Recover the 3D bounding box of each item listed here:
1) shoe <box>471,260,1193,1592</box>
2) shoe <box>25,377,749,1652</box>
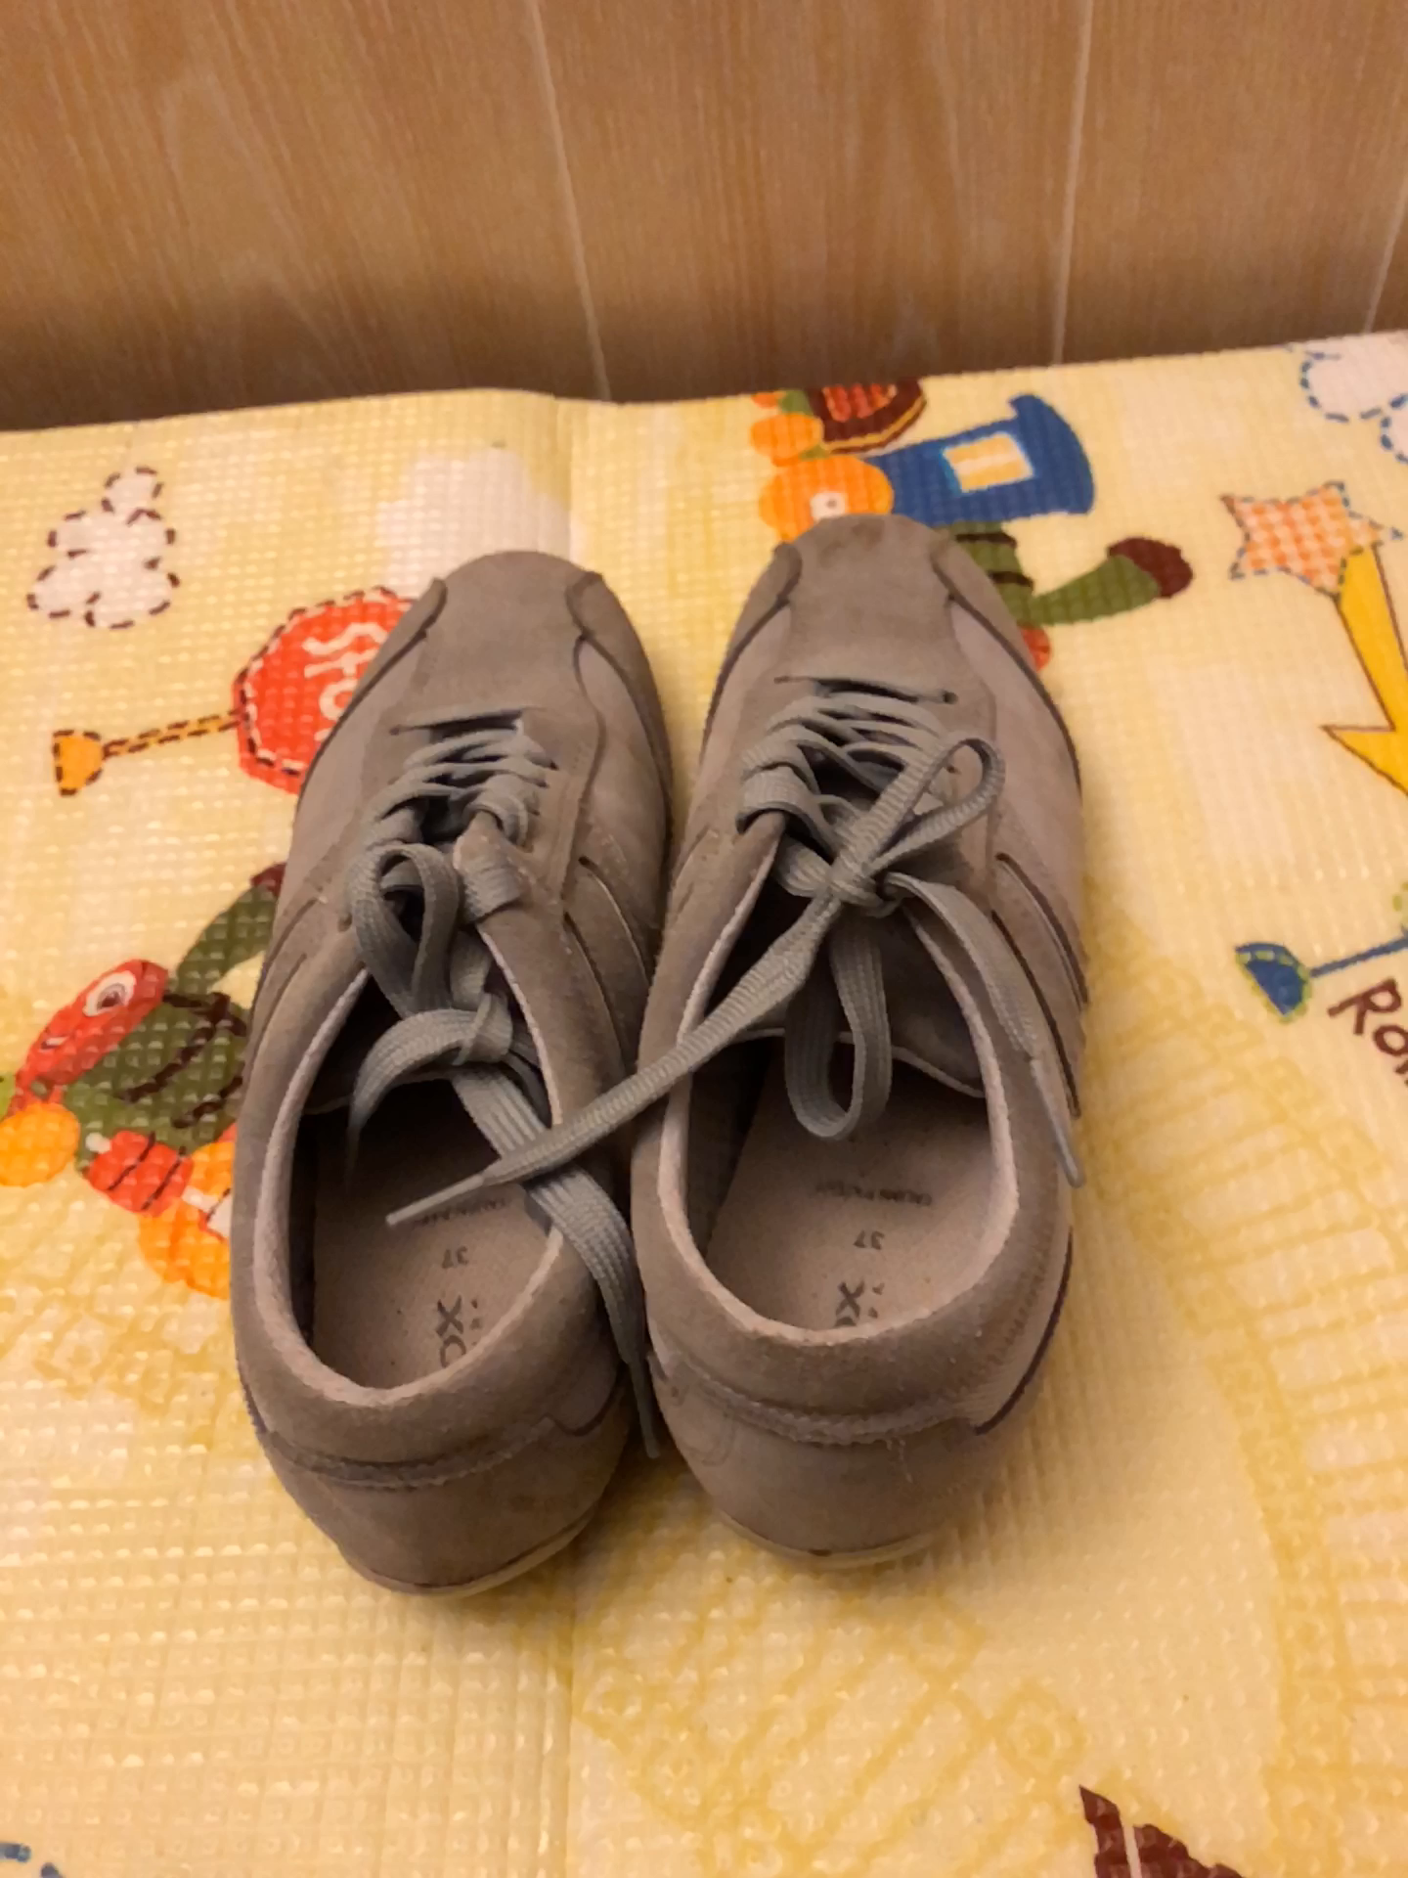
[{"bbox_3d":[0.034,-0.011,0.308,0.090,0.119,0.231,2,55,9],"label":"shoe"},{"bbox_3d":[-0.048,0.009,0.327,0.090,0.119,0.231,-6,55,3],"label":"shoe"}]
